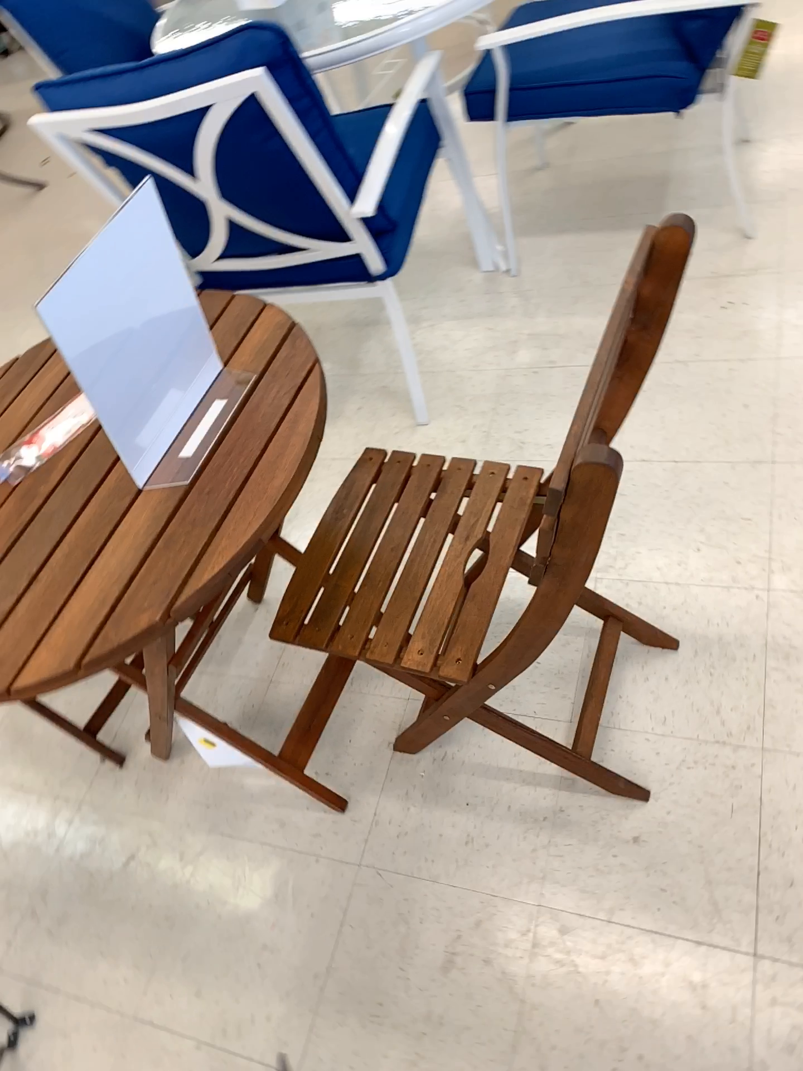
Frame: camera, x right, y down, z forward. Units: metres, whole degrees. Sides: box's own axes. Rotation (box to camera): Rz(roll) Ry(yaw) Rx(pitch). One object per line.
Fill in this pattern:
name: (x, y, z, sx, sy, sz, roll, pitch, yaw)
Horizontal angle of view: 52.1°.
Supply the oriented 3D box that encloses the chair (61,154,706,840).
chair: (0.086, -0.001, 1.119, 0.551, 0.776, 0.441, 6, 55, 26)
